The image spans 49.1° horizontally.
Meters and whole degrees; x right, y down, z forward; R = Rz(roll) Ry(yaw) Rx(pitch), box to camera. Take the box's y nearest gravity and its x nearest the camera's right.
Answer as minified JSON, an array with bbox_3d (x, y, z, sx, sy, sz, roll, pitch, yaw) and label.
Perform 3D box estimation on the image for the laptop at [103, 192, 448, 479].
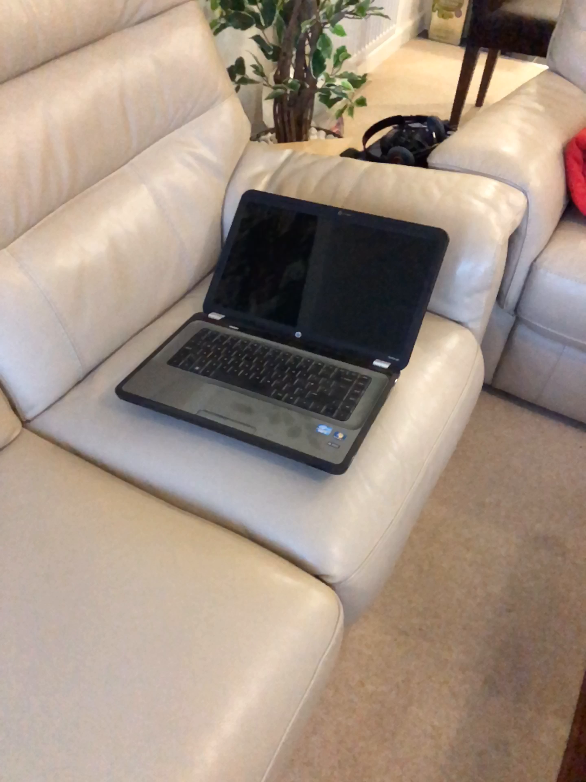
[{"bbox_3d":[-0.005,-0.118,0.981,0.358,0.114,0.426,19,48,17],"label":"laptop"}]
